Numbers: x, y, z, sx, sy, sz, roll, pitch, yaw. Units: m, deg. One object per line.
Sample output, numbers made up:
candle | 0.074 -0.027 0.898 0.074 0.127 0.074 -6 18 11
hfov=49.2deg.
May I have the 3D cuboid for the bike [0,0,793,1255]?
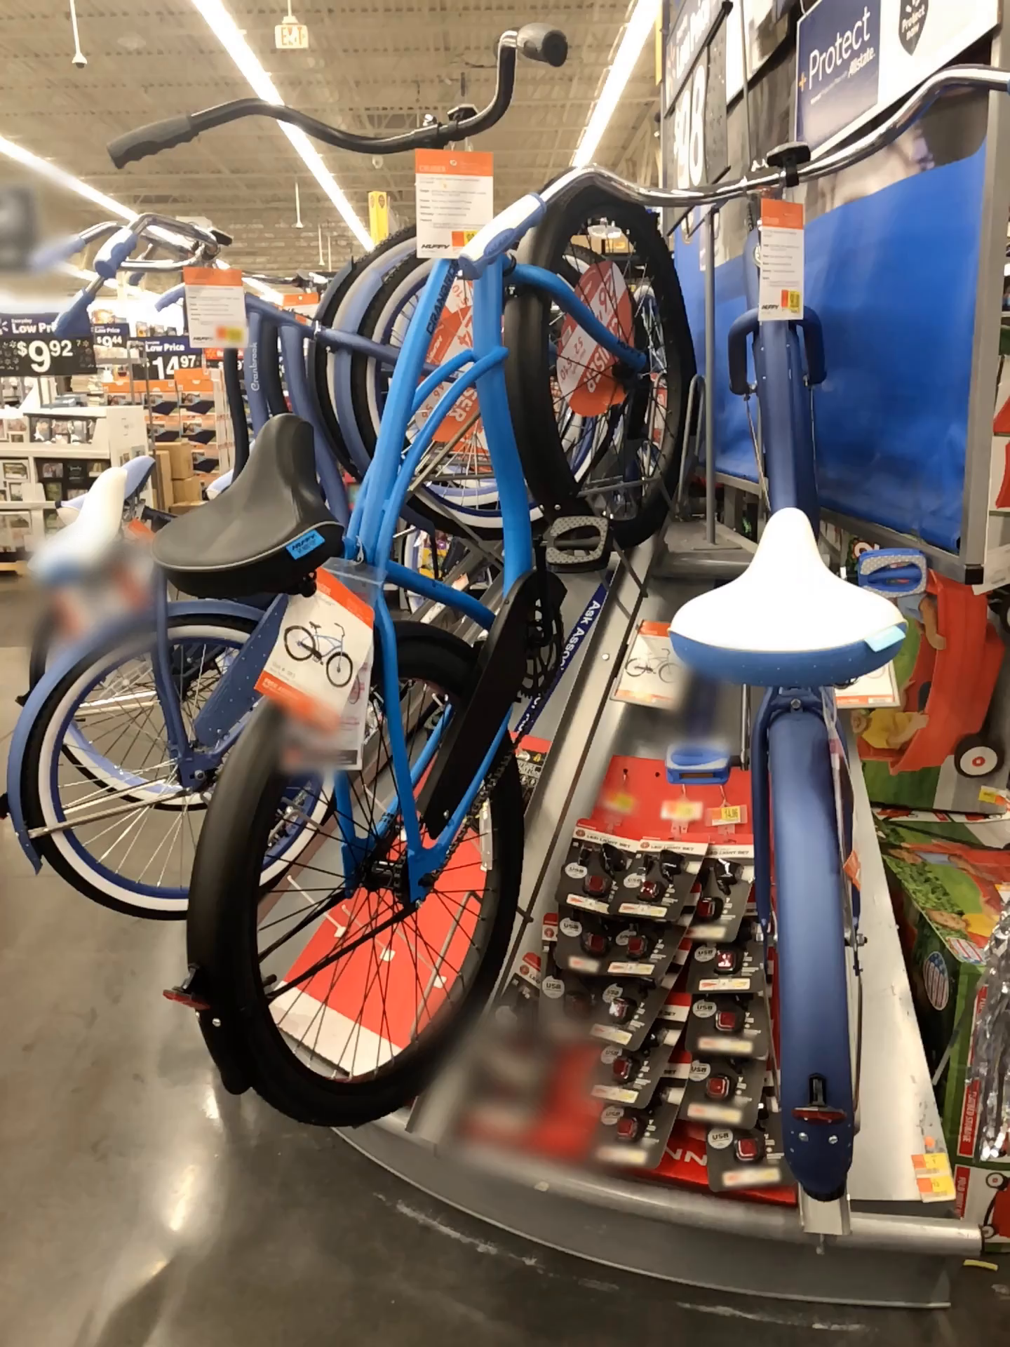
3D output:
bike | -0.031 -0.656 1.560 0.505 1.120 1.565 6 42 27
